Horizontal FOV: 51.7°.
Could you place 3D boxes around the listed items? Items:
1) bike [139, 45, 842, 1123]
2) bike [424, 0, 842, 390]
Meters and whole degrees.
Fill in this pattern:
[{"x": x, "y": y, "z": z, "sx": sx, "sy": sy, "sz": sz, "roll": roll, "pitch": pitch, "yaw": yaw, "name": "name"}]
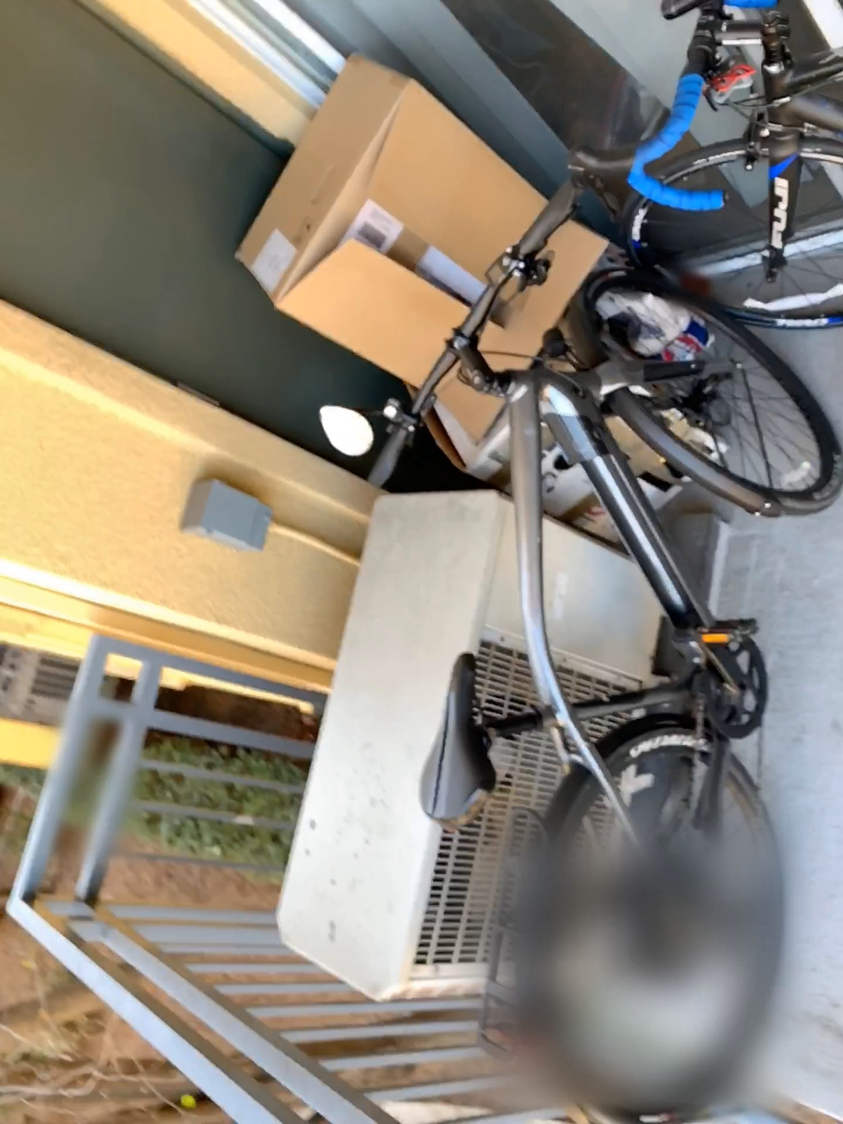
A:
[{"x": 0.250, "y": 0.101, "z": 1.627, "sx": 0.626, "sy": 0.970, "sz": 1.582, "roll": -11, "pitch": 63, "yaw": 44, "name": "bike"}, {"x": 0.922, "y": -0.625, "z": 1.256, "sx": 1.511, "sy": 0.931, "sz": 0.362, "roll": 9, "pitch": 79, "yaw": 45, "name": "bike"}]
